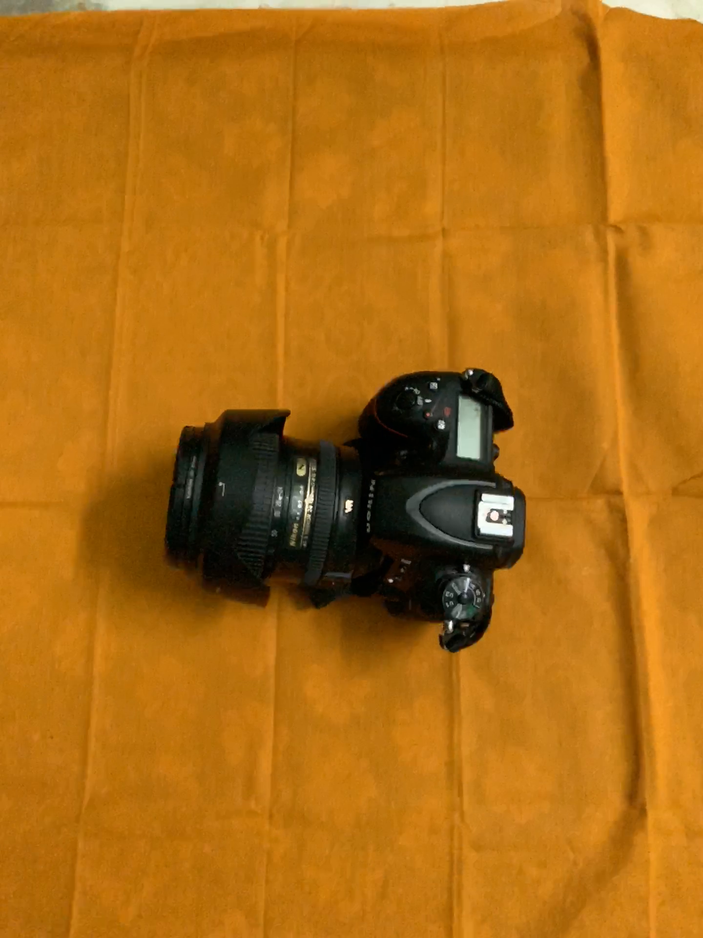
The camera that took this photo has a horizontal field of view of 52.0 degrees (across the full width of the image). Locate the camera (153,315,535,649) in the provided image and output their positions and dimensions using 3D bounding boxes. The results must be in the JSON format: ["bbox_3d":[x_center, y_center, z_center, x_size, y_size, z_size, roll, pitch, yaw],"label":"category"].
[{"bbox_3d":[0.000,0.013,0.390,0.170,0.110,0.151,2,78,1],"label":"camera"}]
